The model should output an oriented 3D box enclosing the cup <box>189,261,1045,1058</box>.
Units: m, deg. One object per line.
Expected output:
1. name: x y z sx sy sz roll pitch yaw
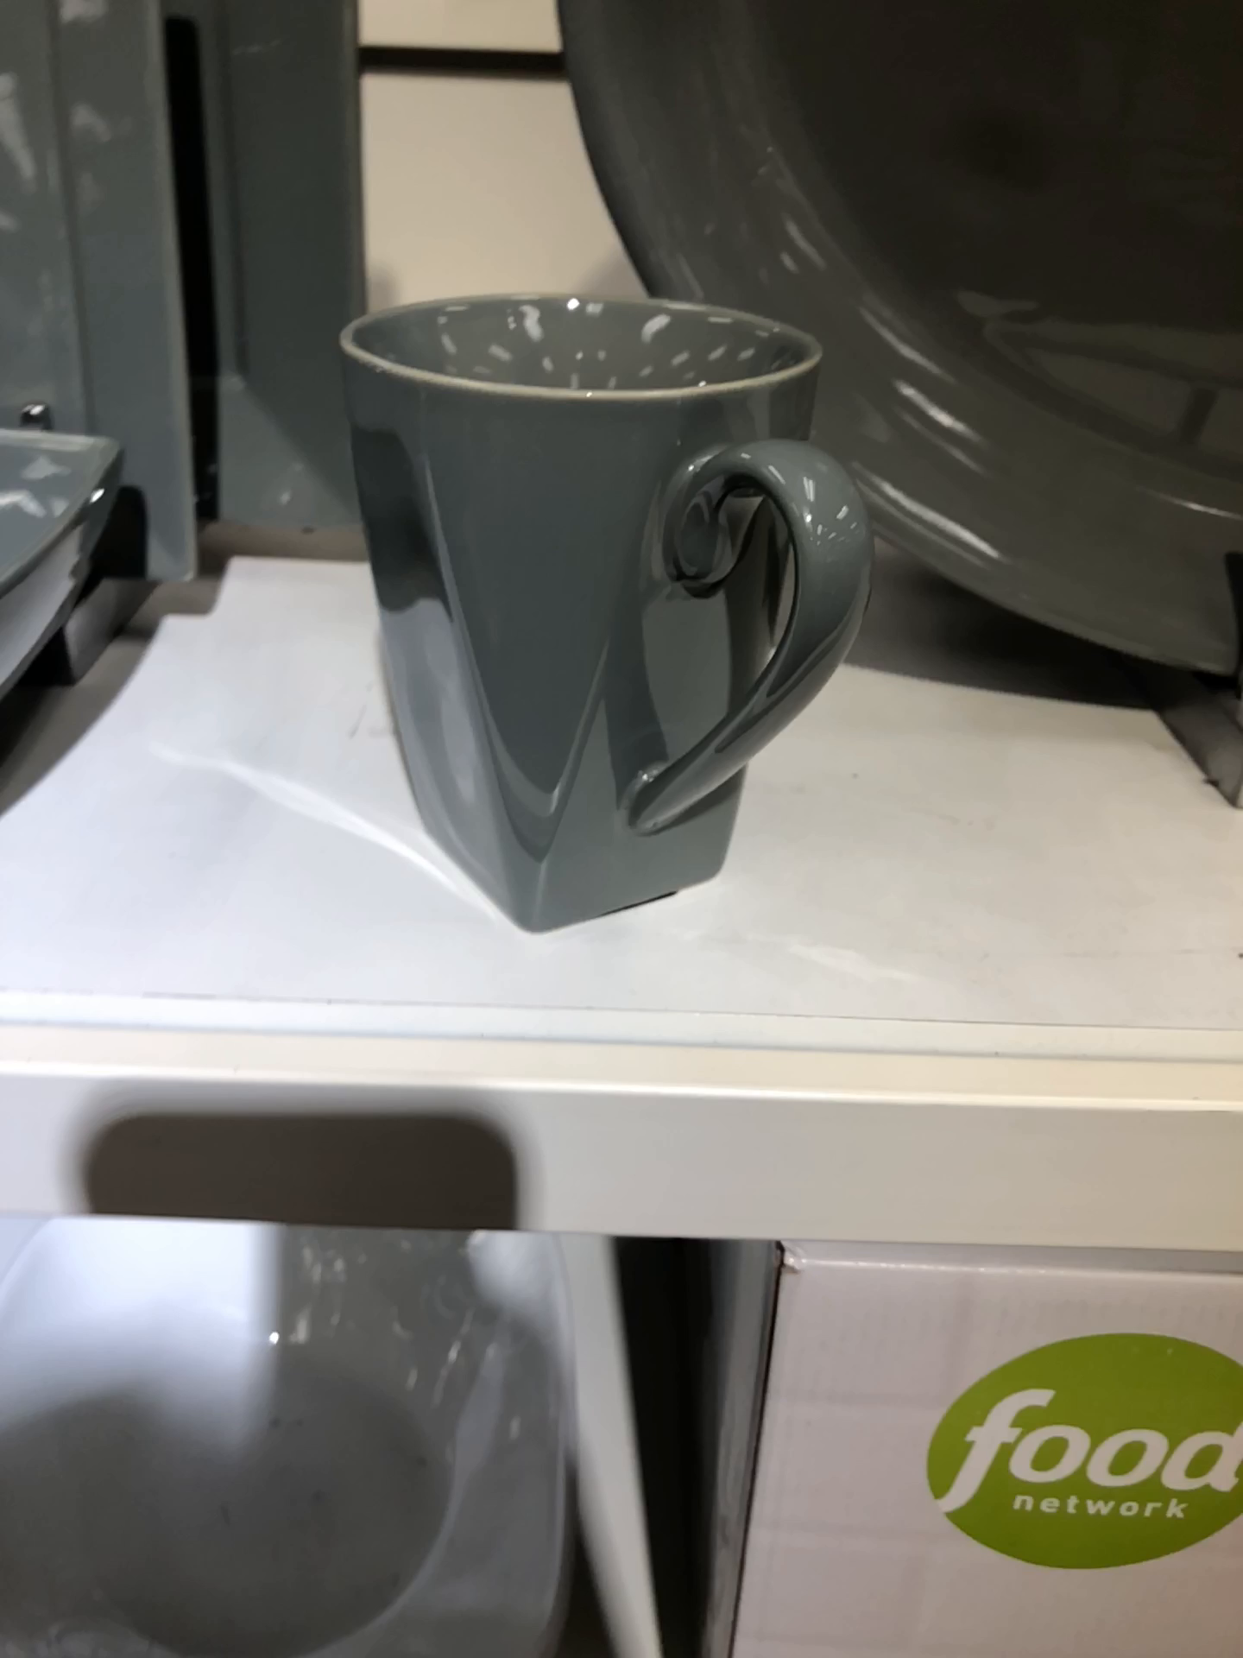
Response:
1. cup: -0.008 -0.044 0.267 0.100 0.097 0.118 -18 37 -29
